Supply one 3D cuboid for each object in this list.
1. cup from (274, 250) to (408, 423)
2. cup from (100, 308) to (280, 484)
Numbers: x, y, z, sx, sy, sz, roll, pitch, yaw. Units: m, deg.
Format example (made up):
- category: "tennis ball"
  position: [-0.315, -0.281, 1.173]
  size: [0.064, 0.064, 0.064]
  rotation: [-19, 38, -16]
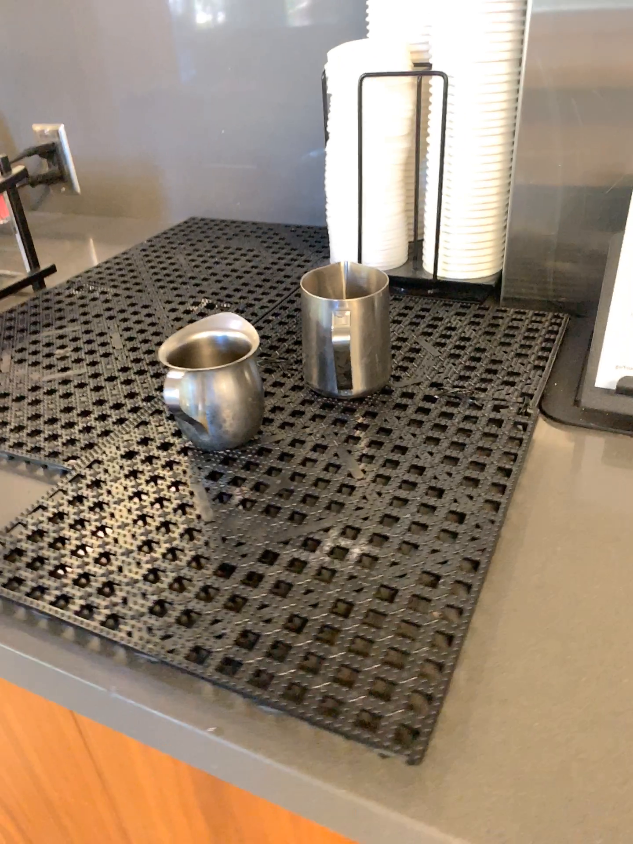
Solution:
- category: "cup"
  position: [0.024, -0.066, 0.474]
  size: [0.080, 0.080, 0.121]
  rotation: [1, 33, 9]
- category: "cup"
  position: [-0.081, -0.023, 0.460]
  size: [0.080, 0.070, 0.121]
  rotation: [2, 33, 10]
